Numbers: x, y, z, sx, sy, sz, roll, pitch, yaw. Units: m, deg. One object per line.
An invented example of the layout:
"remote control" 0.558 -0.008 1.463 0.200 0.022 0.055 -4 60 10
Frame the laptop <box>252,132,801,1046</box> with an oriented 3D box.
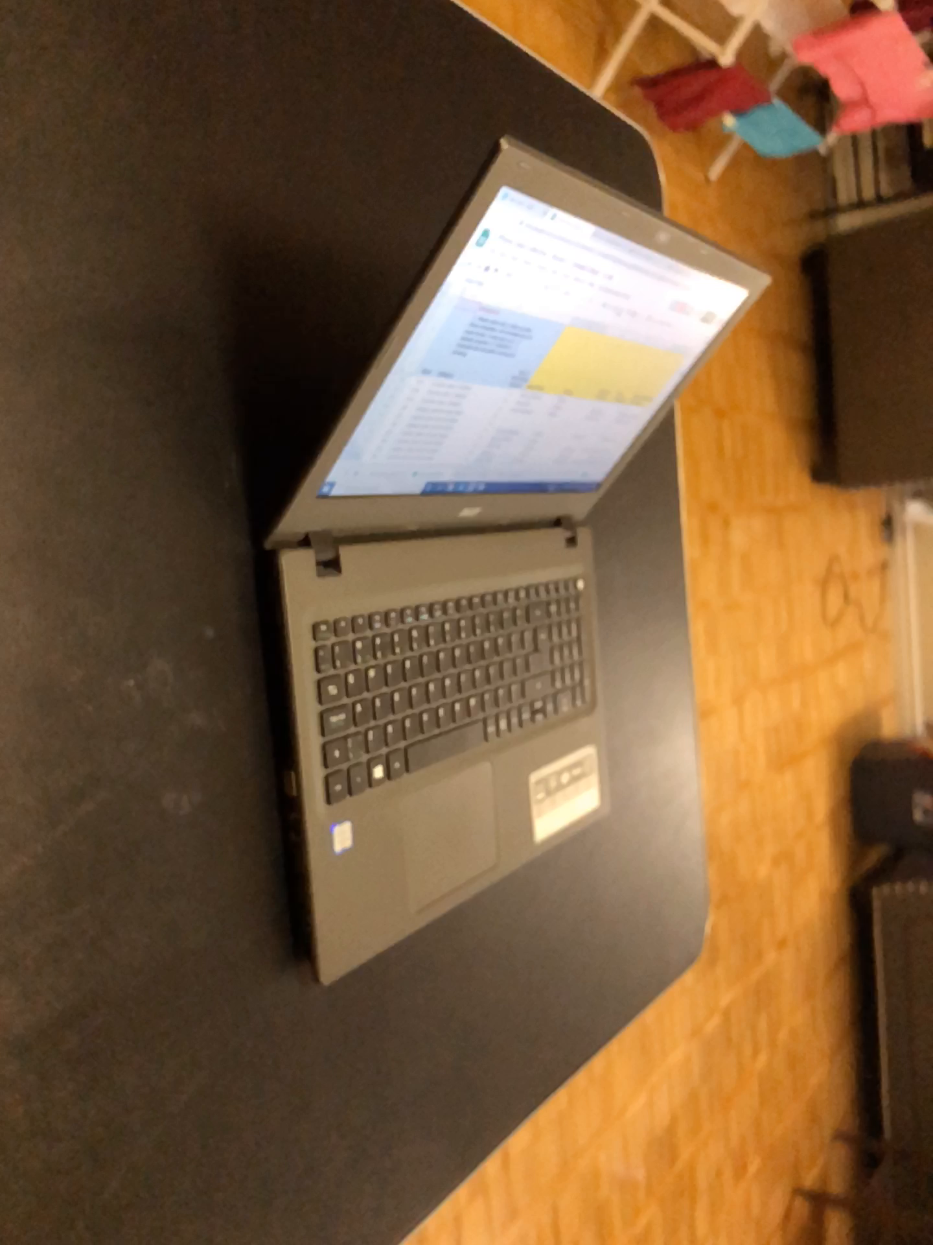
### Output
"laptop" 0.072 -0.030 0.686 0.376 0.162 0.429 -11 98 -55
